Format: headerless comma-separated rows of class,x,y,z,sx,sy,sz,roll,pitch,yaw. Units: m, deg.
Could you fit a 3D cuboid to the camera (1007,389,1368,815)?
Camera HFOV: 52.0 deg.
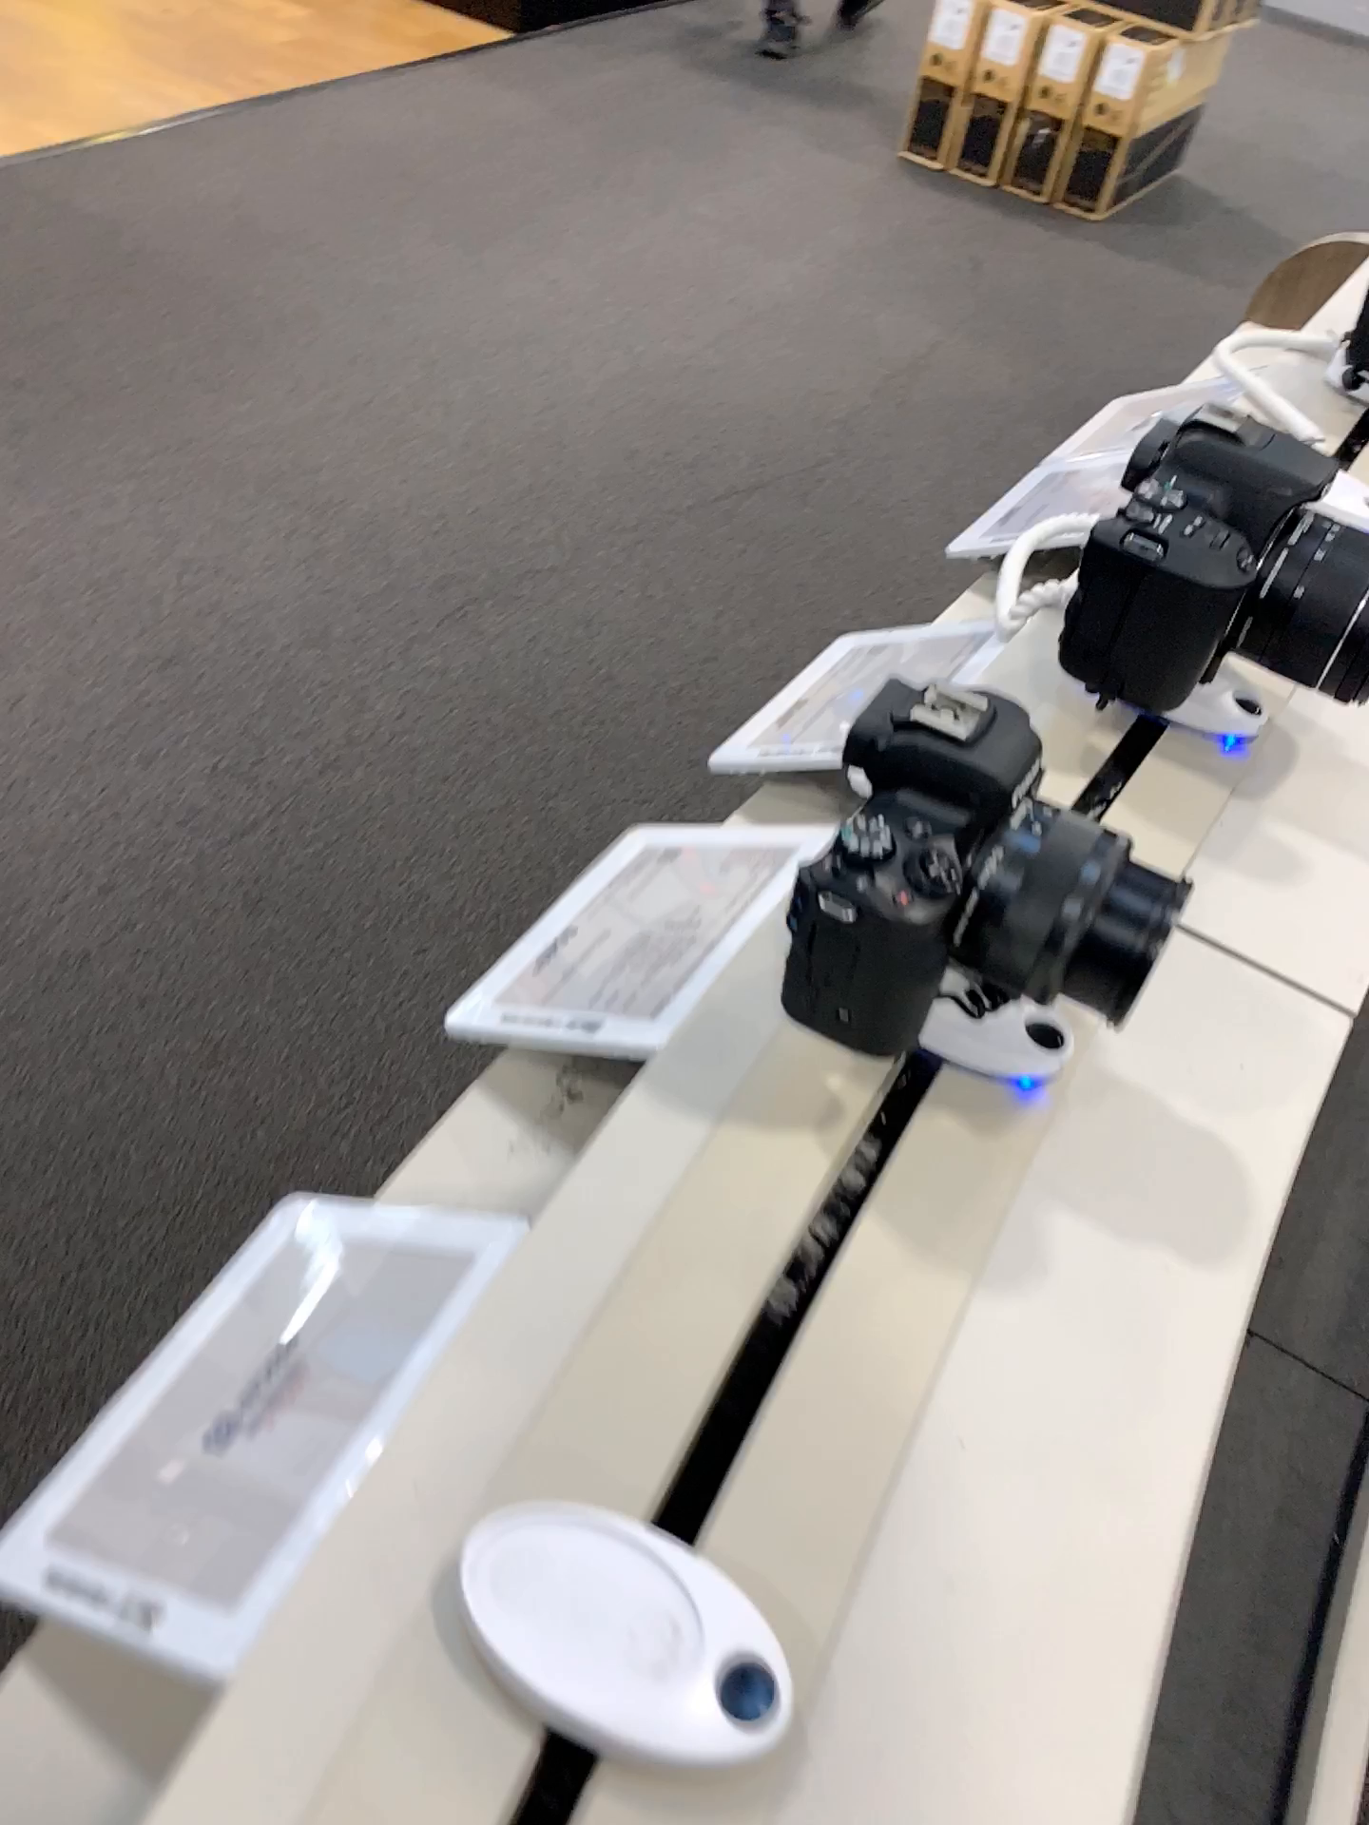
camera,0.232,-0.135,0.592,0.135,0.089,0.122,27,47,15

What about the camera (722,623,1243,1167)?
camera,0.093,-0.010,0.447,0.111,0.088,0.112,27,47,15

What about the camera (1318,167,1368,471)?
camera,0.503,-0.371,0.868,0.146,0.101,0.134,31,49,18
